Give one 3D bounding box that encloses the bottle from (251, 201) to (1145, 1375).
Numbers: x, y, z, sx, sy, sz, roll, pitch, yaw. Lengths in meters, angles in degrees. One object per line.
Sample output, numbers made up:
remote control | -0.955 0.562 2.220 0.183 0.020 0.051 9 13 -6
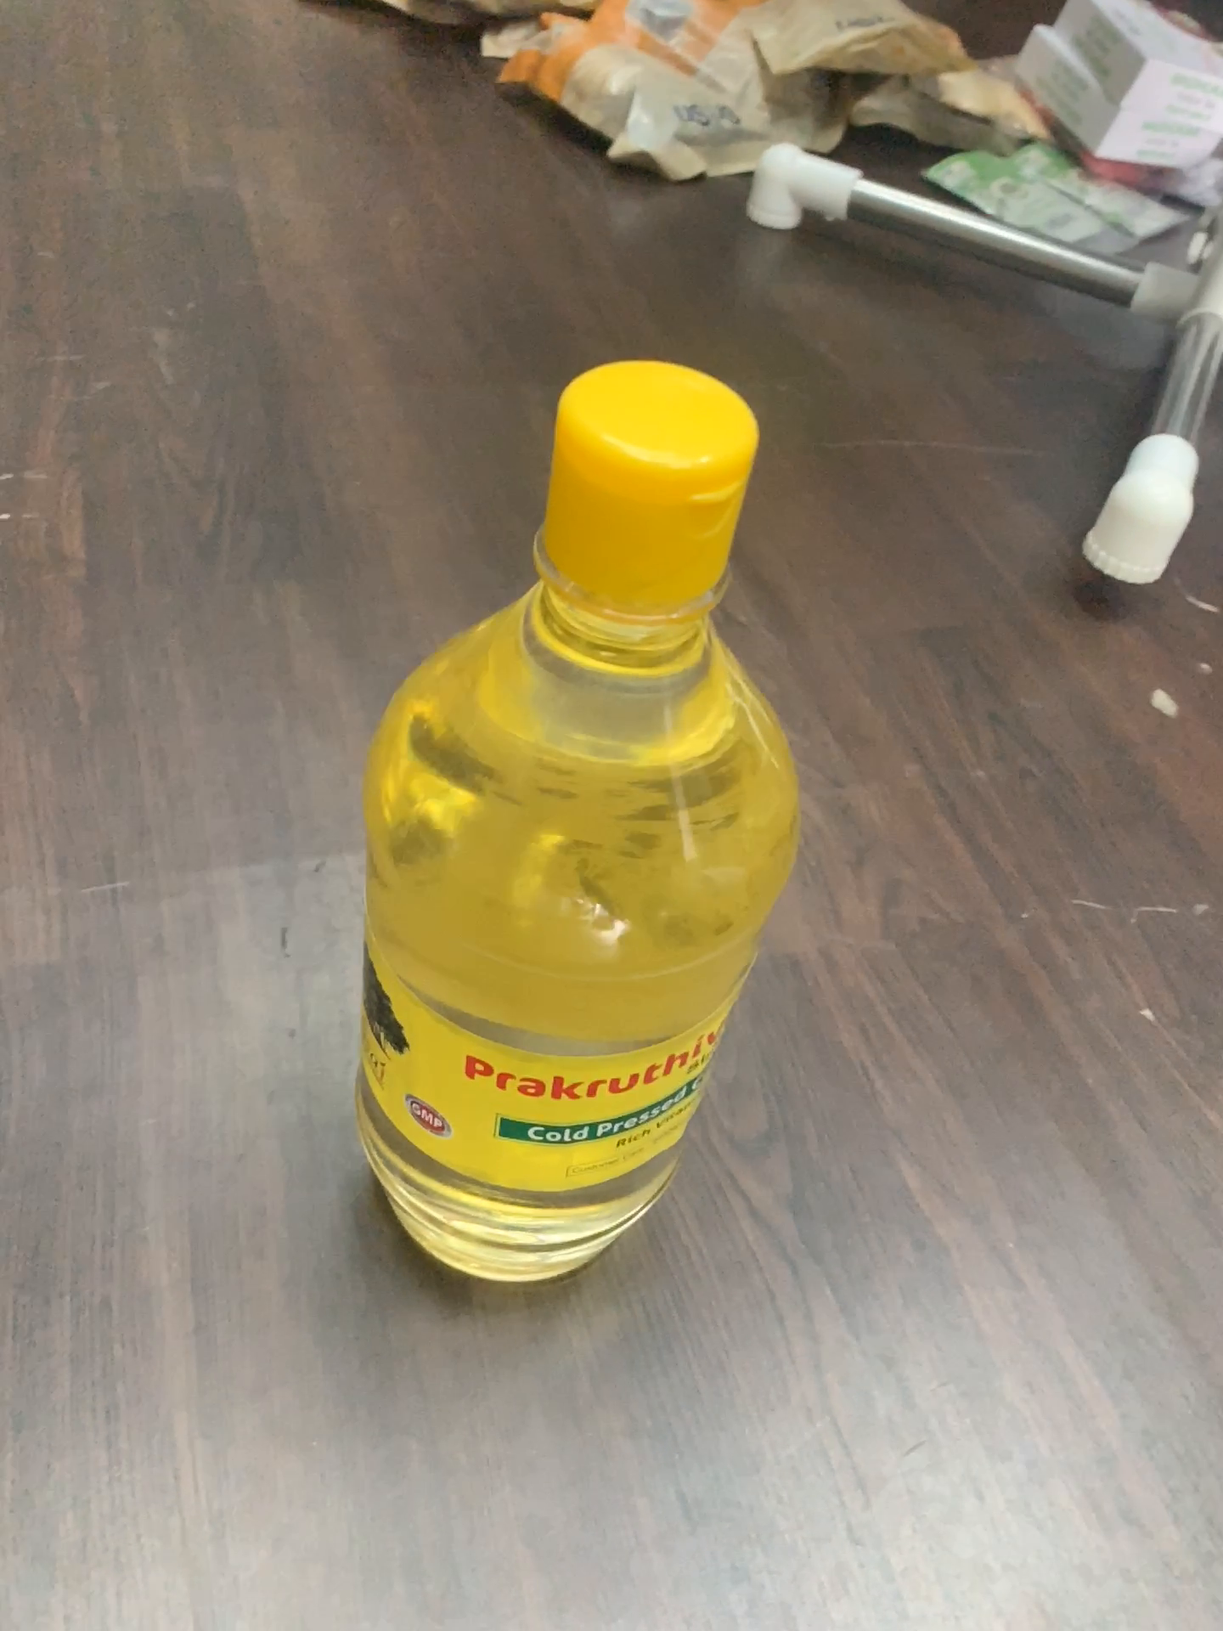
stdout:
bottle | -0.003 0.009 0.251 0.090 0.209 0.090 6 46 -6
